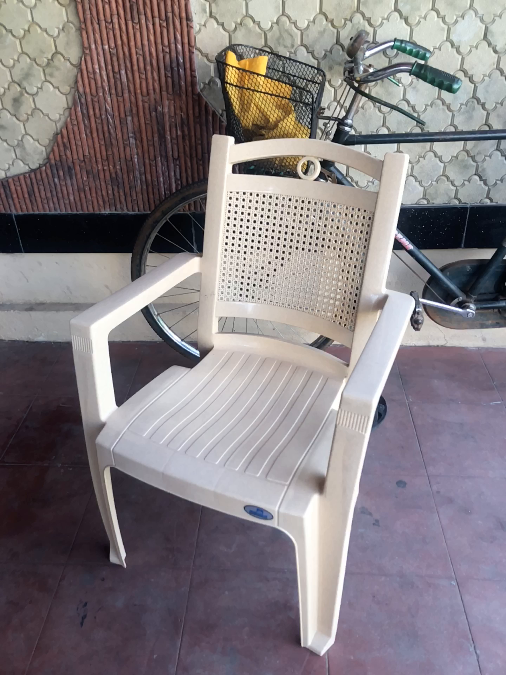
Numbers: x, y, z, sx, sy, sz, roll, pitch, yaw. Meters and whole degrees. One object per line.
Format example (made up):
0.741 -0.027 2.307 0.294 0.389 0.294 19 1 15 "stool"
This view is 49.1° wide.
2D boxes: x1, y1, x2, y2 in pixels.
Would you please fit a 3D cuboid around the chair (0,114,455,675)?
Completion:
-0.021 0.075 1.092 0.590 0.826 0.553 13 37 22 "chair"
